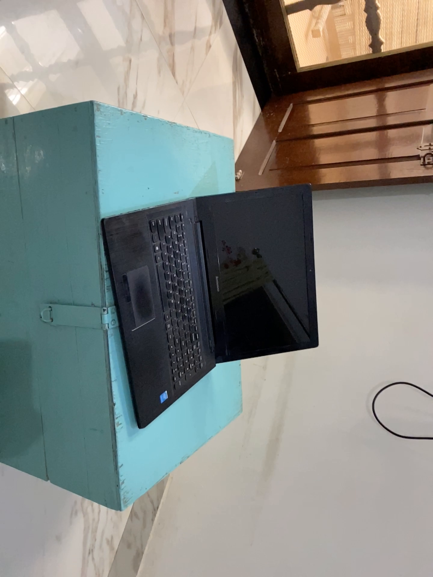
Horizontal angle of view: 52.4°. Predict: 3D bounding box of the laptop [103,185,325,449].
[{"bbox_3d":[0.039,0.014,0.862,0.425,0.190,0.371,-29,118,-54],"label":"laptop"}]
